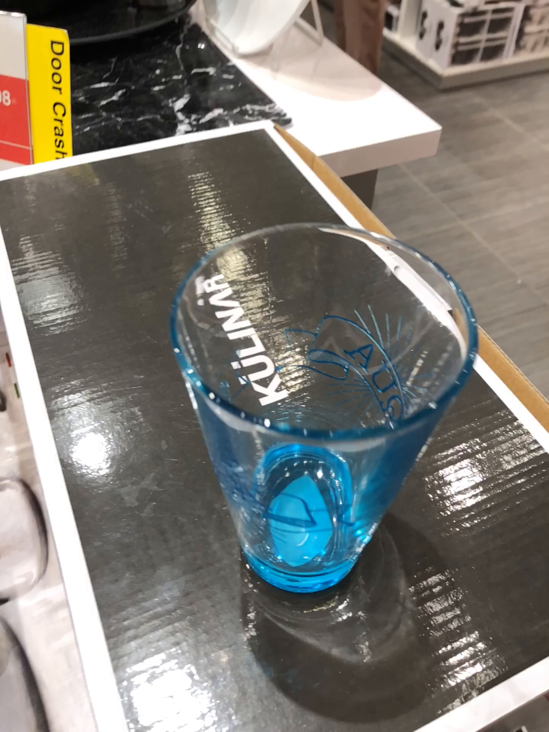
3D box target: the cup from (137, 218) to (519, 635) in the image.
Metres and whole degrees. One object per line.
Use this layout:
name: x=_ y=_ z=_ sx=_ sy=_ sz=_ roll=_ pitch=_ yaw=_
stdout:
cup: x=0.008 y=0.023 z=0.195 sx=0.080 sy=0.110 sz=0.080 roll=1 pitch=48 yaw=-1
